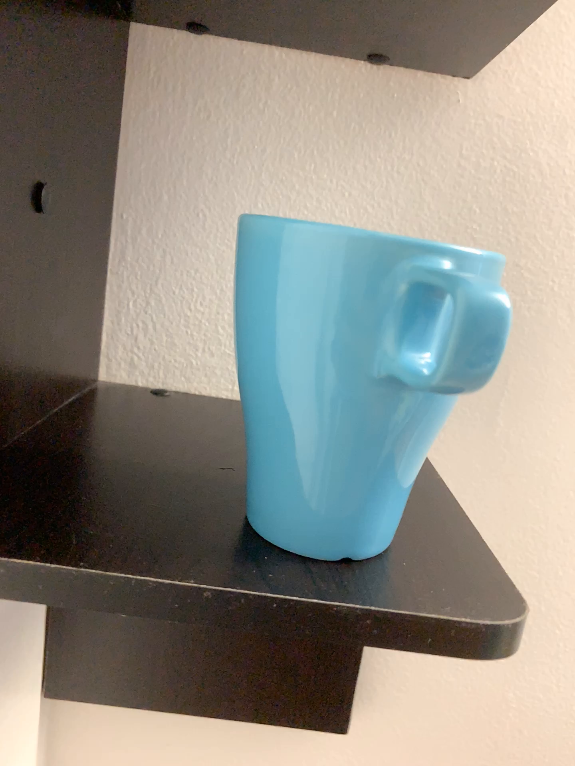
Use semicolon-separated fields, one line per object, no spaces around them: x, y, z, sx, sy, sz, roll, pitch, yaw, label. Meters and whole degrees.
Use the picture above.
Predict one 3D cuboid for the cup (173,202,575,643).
0.029;-0.002;0.185;0.090;0.090;0.110;2;13;-28;cup
